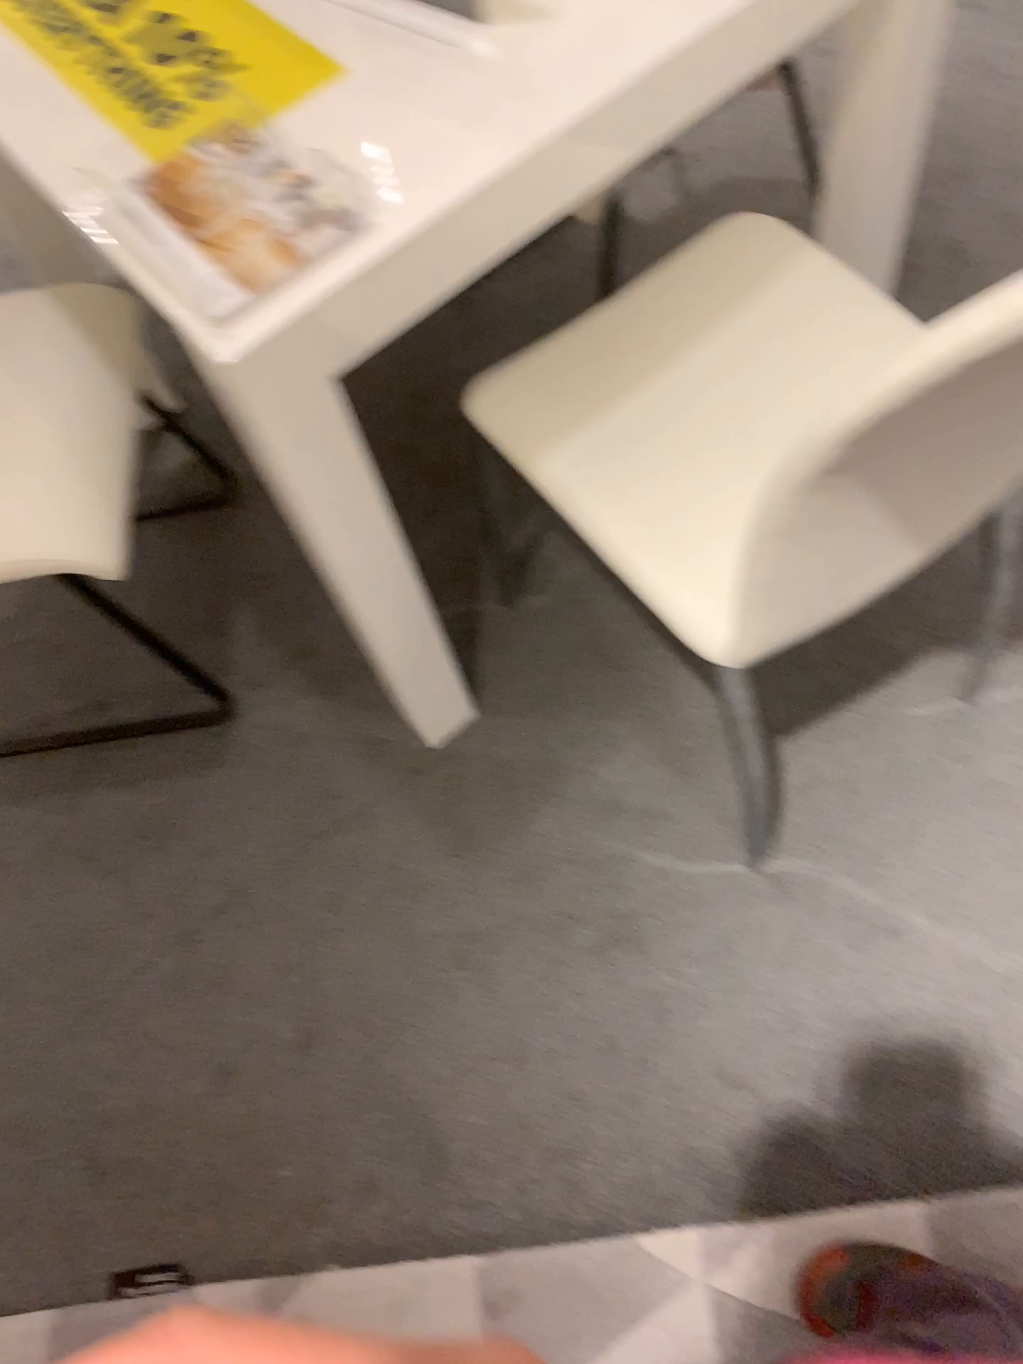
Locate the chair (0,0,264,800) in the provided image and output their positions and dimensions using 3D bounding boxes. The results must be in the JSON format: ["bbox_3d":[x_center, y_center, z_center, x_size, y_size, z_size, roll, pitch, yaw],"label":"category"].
[{"bbox_3d":[-0.712,-0.298,1.164,0.569,0.911,0.480,-10,62,4],"label":"chair"}]

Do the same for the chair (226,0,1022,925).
[{"bbox_3d":[0.261,-0.272,1.008,0.488,0.941,0.612,-39,64,-11],"label":"chair"}]
